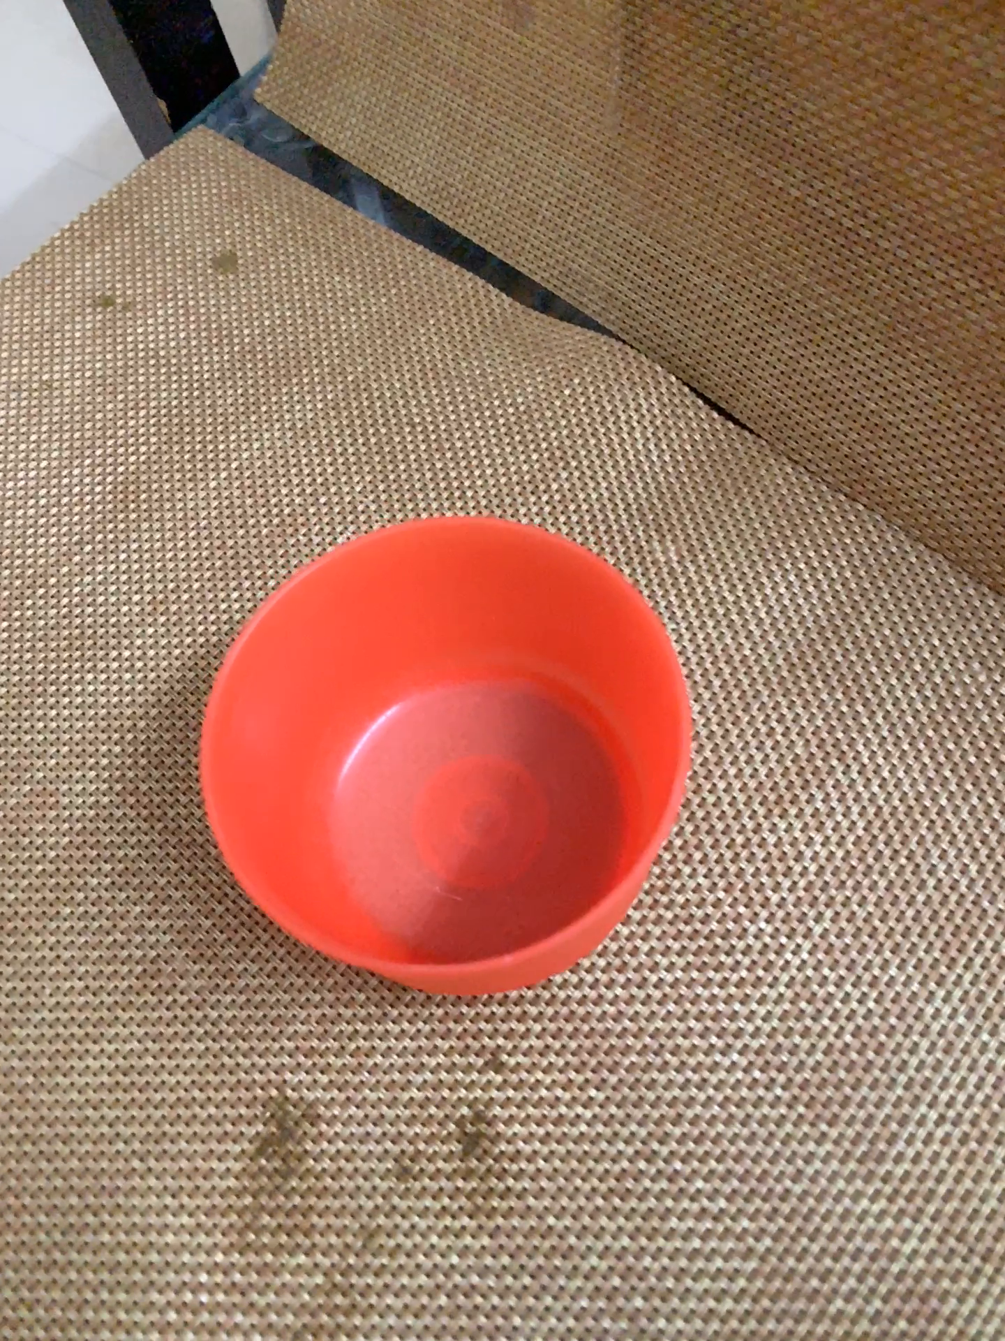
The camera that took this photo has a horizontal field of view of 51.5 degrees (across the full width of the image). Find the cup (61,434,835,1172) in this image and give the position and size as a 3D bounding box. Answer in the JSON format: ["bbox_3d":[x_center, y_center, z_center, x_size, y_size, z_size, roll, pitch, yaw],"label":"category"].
[{"bbox_3d":[-0.006,0.021,0.171,0.081,0.050,0.078,-3,63,5],"label":"cup"}]
